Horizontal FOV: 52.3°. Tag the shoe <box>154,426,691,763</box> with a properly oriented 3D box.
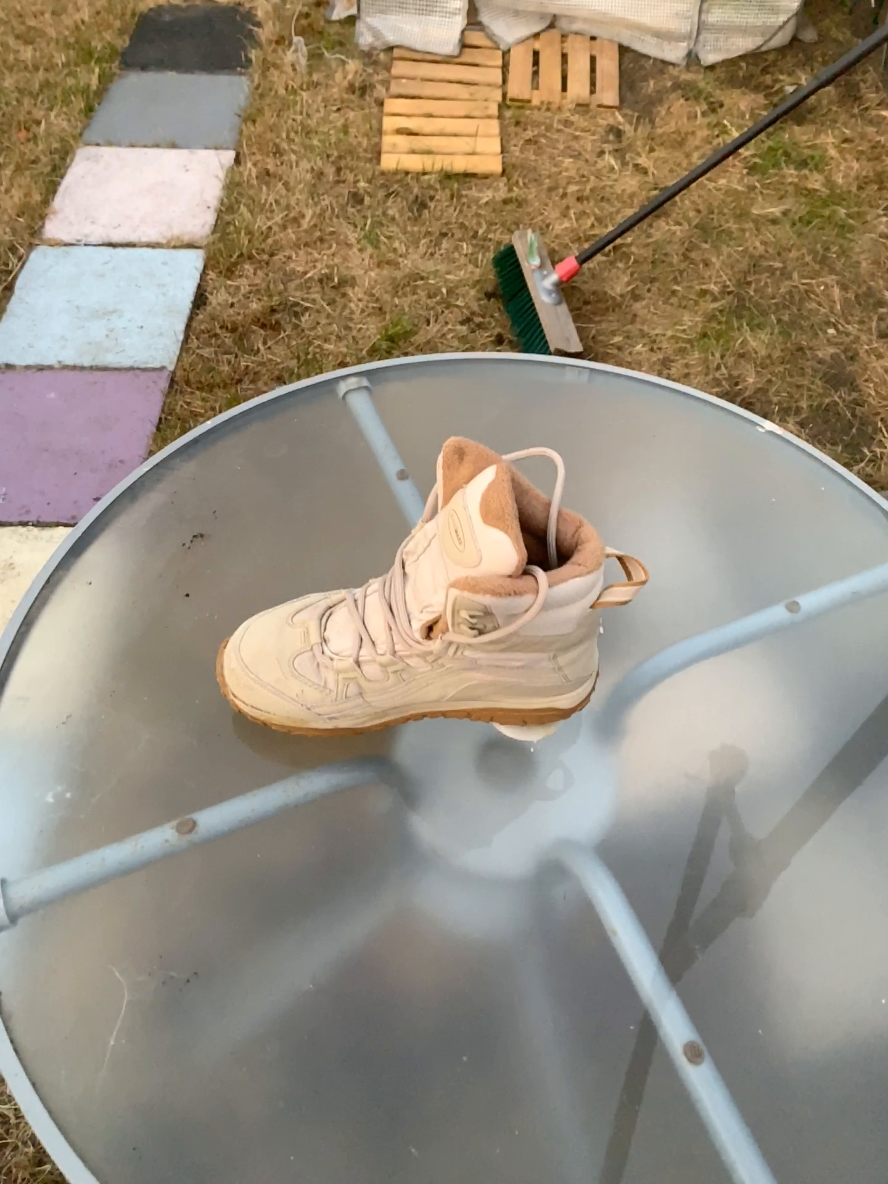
[{"bbox_3d":[-0.014,0.011,0.587,0.280,0.198,0.121,1,54,-2],"label":"shoe"}]
